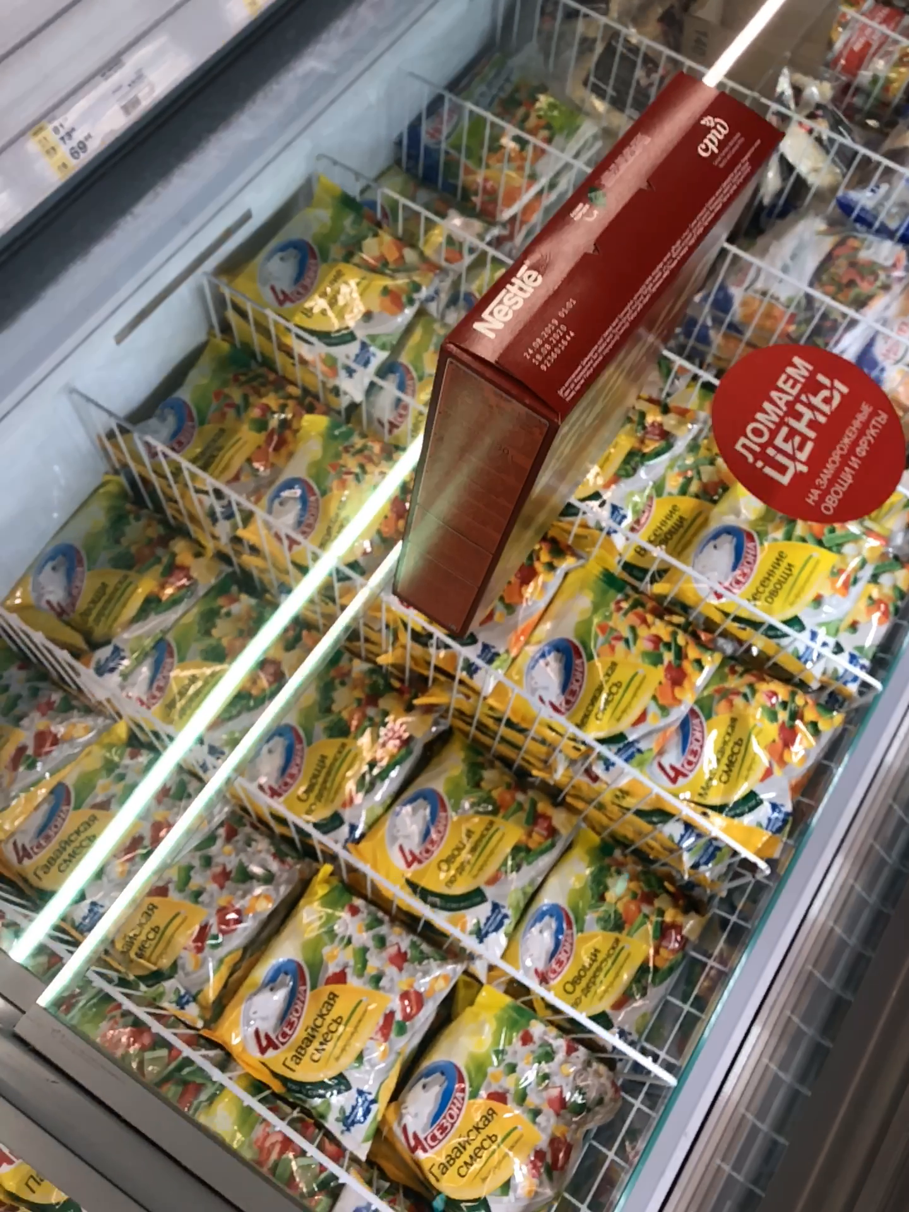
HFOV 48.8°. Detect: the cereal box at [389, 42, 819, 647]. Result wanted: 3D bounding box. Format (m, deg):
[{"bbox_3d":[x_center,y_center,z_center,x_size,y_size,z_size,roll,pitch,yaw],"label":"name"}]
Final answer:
[{"bbox_3d":[0.061,-0.115,0.532,0.060,0.259,0.211,35,69,5],"label":"cereal box"}]
